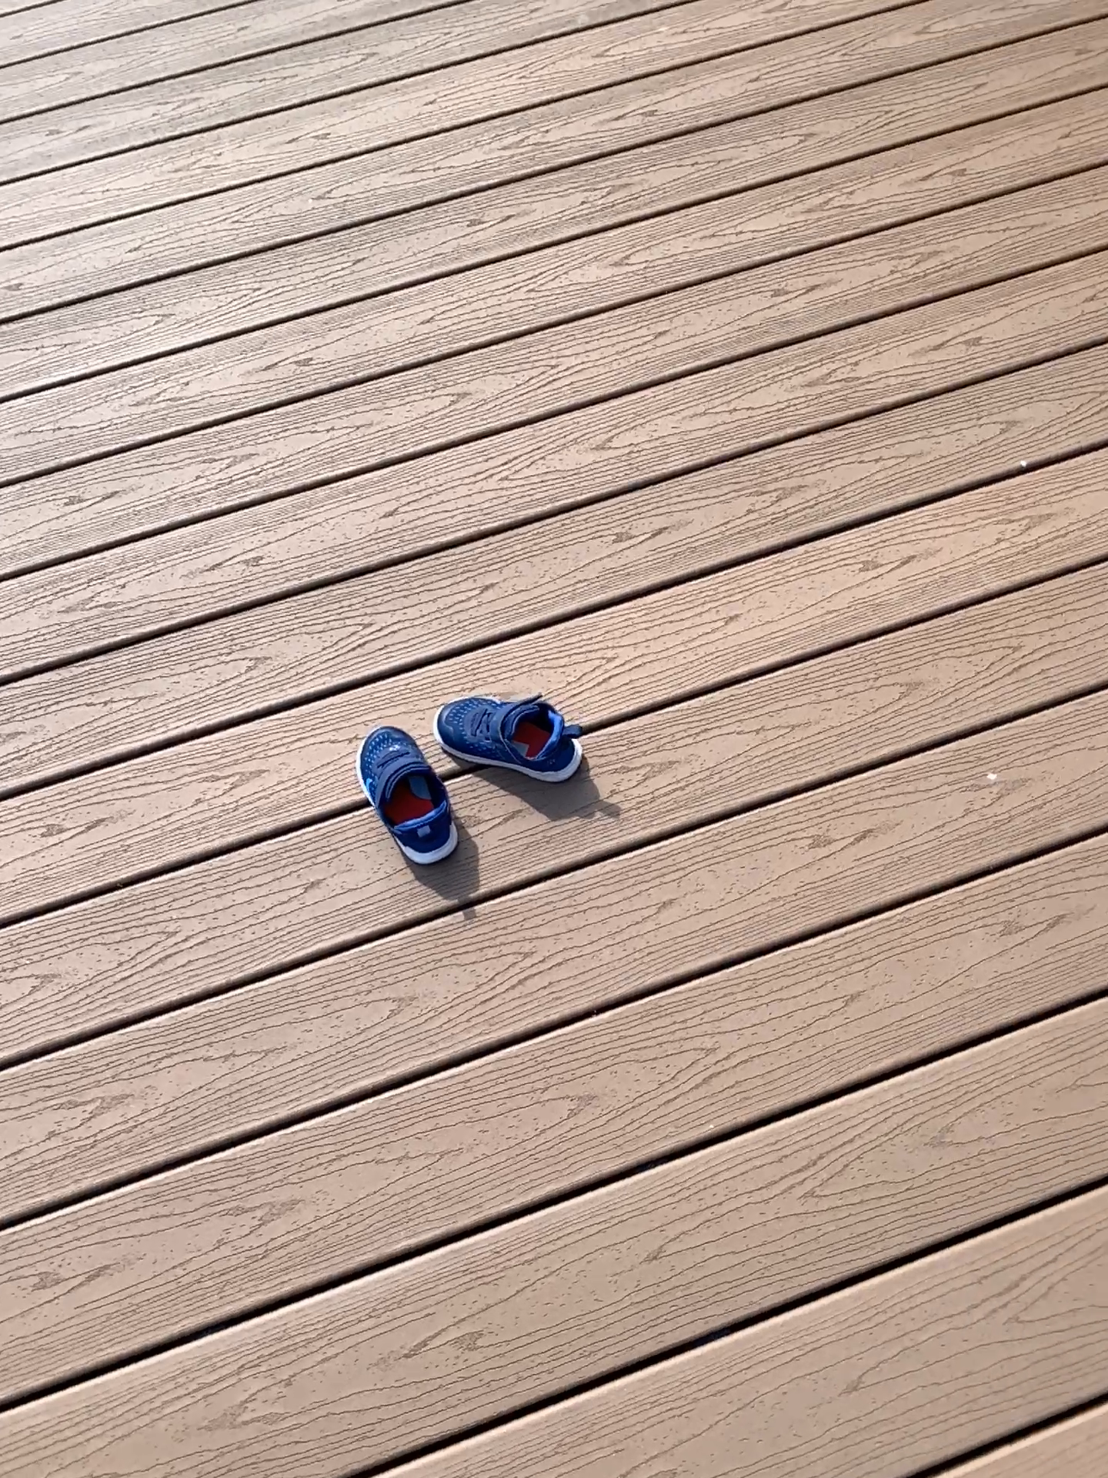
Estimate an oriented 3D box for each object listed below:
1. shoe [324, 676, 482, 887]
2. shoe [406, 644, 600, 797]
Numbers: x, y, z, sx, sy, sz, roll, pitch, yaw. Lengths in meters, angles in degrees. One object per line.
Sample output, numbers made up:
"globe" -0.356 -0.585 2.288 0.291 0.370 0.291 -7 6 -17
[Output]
"shoe" -0.148 0.042 1.111 0.080 0.090 0.171 -26 63 -9
"shoe" -0.049 -0.018 1.143 0.170 0.090 0.080 16 65 13
